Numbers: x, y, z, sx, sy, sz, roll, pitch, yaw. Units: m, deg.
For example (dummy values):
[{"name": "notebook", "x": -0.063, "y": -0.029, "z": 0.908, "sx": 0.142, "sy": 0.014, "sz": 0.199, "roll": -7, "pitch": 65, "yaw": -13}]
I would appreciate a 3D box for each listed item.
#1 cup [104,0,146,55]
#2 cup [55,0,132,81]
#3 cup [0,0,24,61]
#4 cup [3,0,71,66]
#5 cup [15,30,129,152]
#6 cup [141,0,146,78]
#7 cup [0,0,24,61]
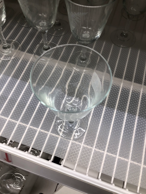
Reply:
[{"name": "cup", "x": 0.127, "y": -0.173, "z": 0.310, "sx": 0.089, "sy": 0.136, "sz": 0.086, "roll": 0, "pitch": 62, "yaw": 0}, {"name": "cup", "x": 0.031, "y": -0.121, "z": 0.302, "sx": 0.087, "sy": 0.155, "sz": 0.089, "roll": 0, "pitch": 63, "yaw": 0}, {"name": "cup", "x": -0.146, "y": -0.145, "z": 0.301, "sx": 0.069, "sy": 0.146, "sz": 0.066, "roll": 0, "pitch": 63, "yaw": 0}, {"name": "cup", "x": -0.050, "y": -0.144, "z": 0.301, "sx": 0.079, "sy": 0.146, "sz": 0.086, "roll": 0, "pitch": 63, "yaw": 0}, {"name": "cup", "x": 0.002, "y": 0.007, "z": 0.233, "sx": 0.089, "sy": 0.156, "sz": 0.086, "roll": 0, "pitch": 63, "yaw": 0}, {"name": "cup", "x": 0.188, "y": -0.113, "z": 0.261, "sx": 0.069, "sy": 0.126, "sz": 0.086, "roll": 40, "pitch": 69, "yaw": 18}, {"name": "cup", "x": -0.146, "y": -0.145, "z": 0.301, "sx": 0.069, "sy": 0.146, "sz": 0.066, "roll": 0, "pitch": 63, "yaw": 0}]
